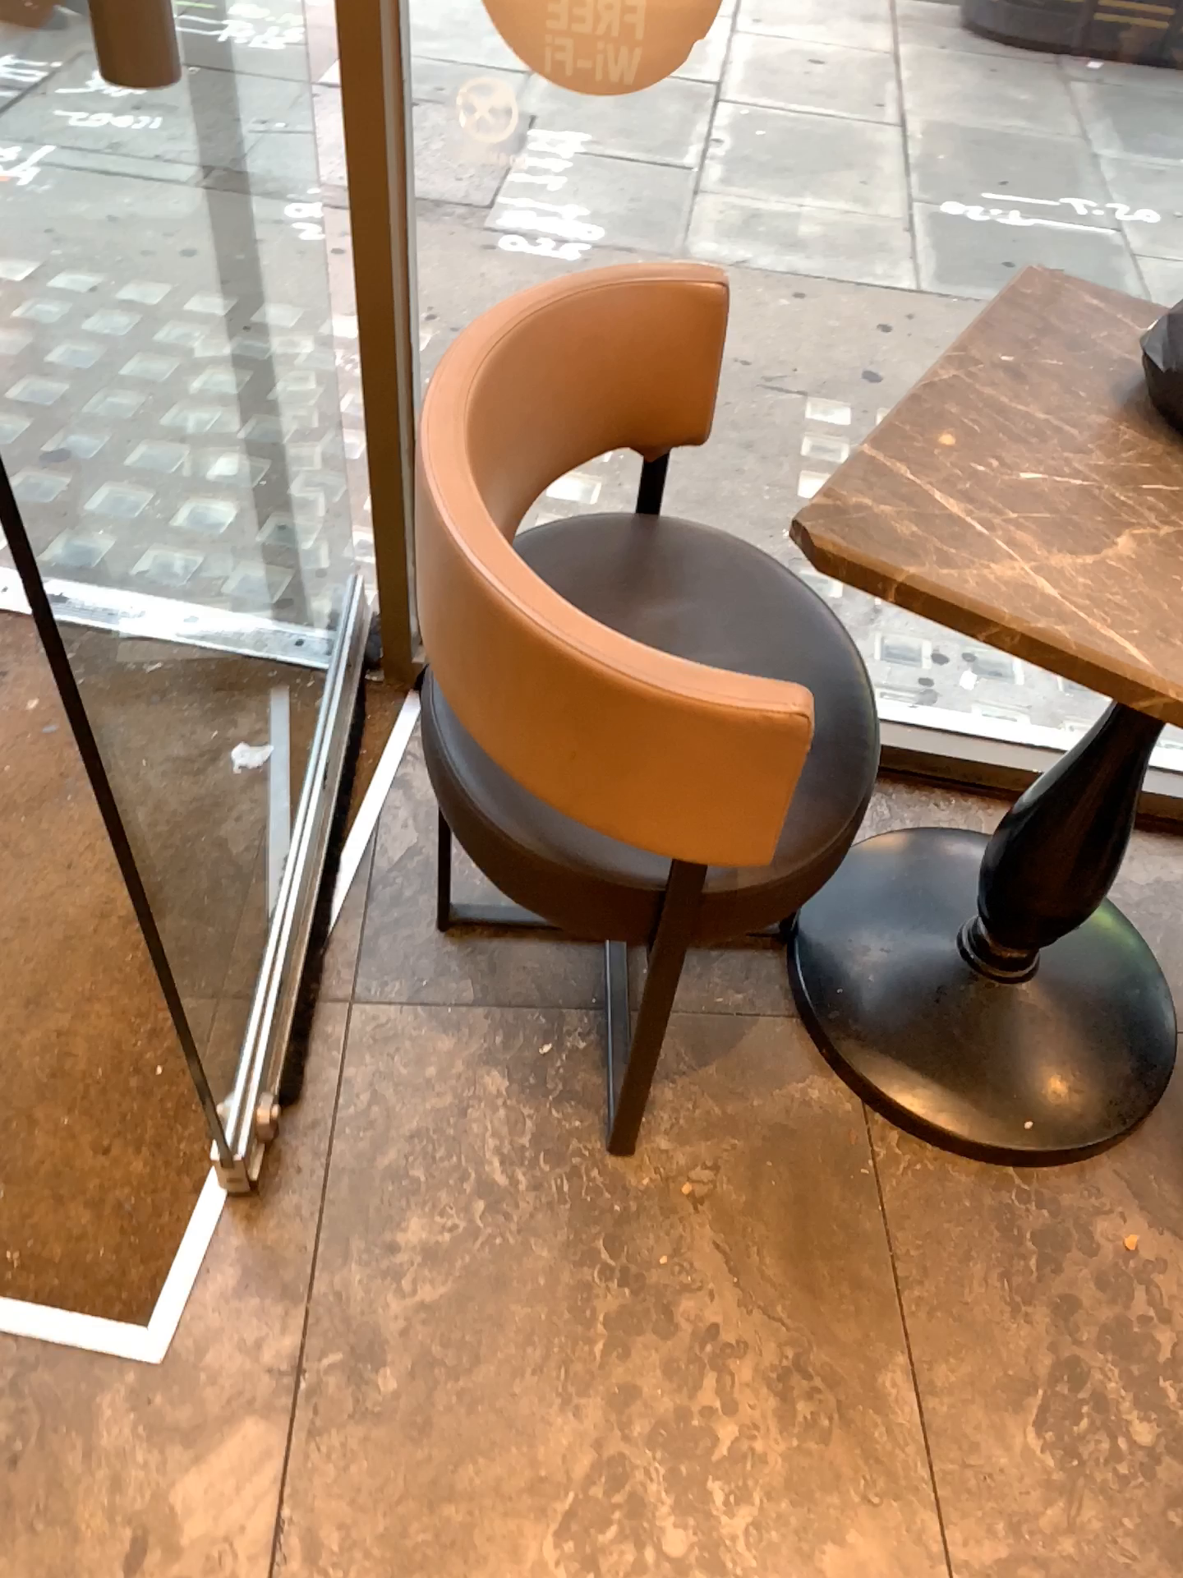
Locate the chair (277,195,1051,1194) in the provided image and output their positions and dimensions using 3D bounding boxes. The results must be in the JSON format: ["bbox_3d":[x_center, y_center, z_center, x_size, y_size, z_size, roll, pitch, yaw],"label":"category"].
[{"bbox_3d":[0.071,-0.113,1.283,0.510,0.654,0.767,9,47,2],"label":"chair"}]
